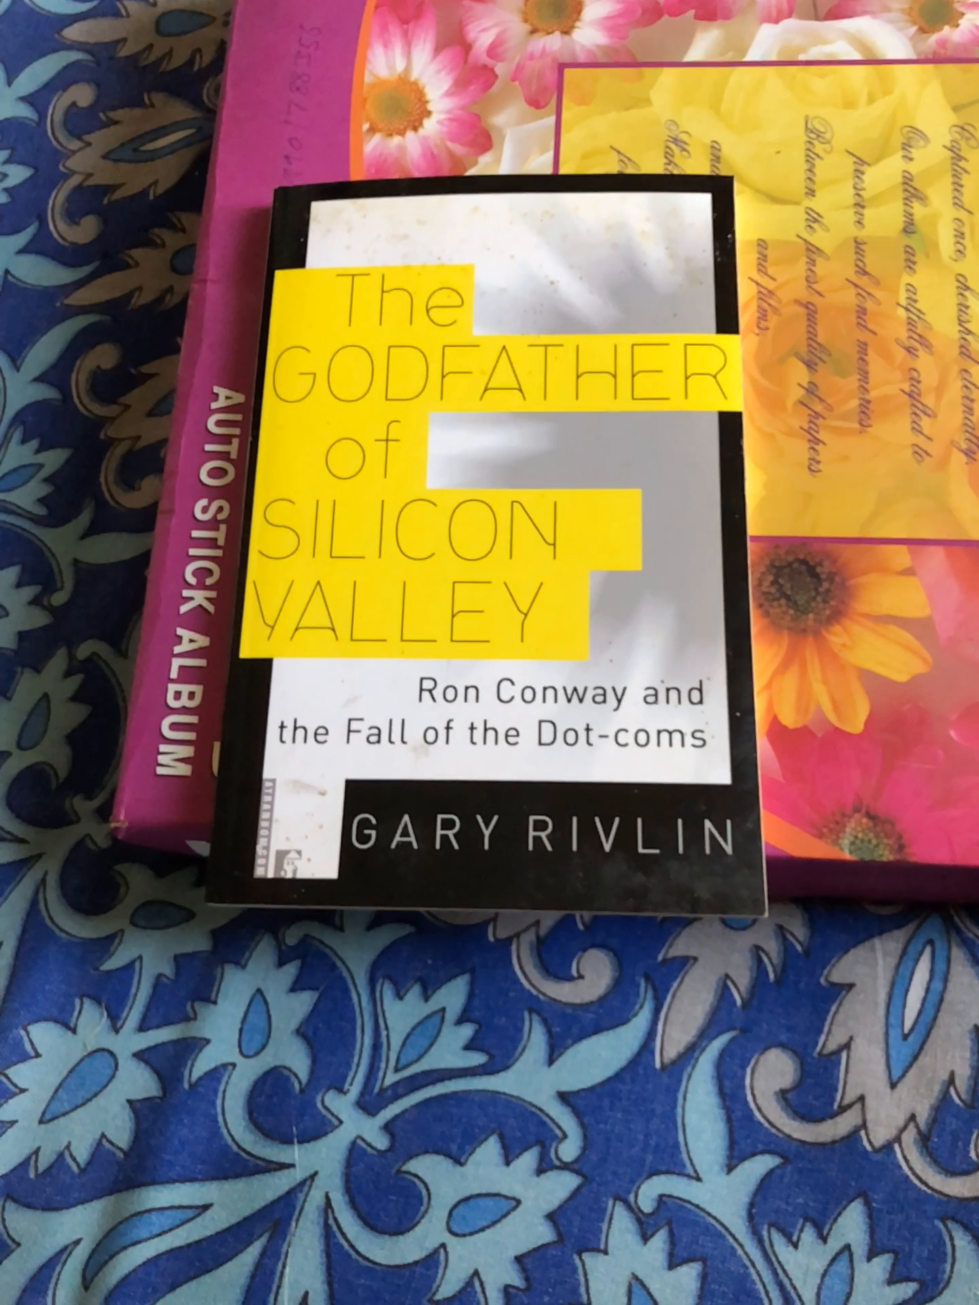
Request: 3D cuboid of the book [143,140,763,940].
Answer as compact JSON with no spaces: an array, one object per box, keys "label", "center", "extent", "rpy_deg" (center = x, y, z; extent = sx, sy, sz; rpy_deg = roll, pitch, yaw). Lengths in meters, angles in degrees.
[{"label":"book","center":[-0.005,-0.038,0.300],"extent":[0.150,0.020,0.220],"rpy_deg":[1,76,4]}]
